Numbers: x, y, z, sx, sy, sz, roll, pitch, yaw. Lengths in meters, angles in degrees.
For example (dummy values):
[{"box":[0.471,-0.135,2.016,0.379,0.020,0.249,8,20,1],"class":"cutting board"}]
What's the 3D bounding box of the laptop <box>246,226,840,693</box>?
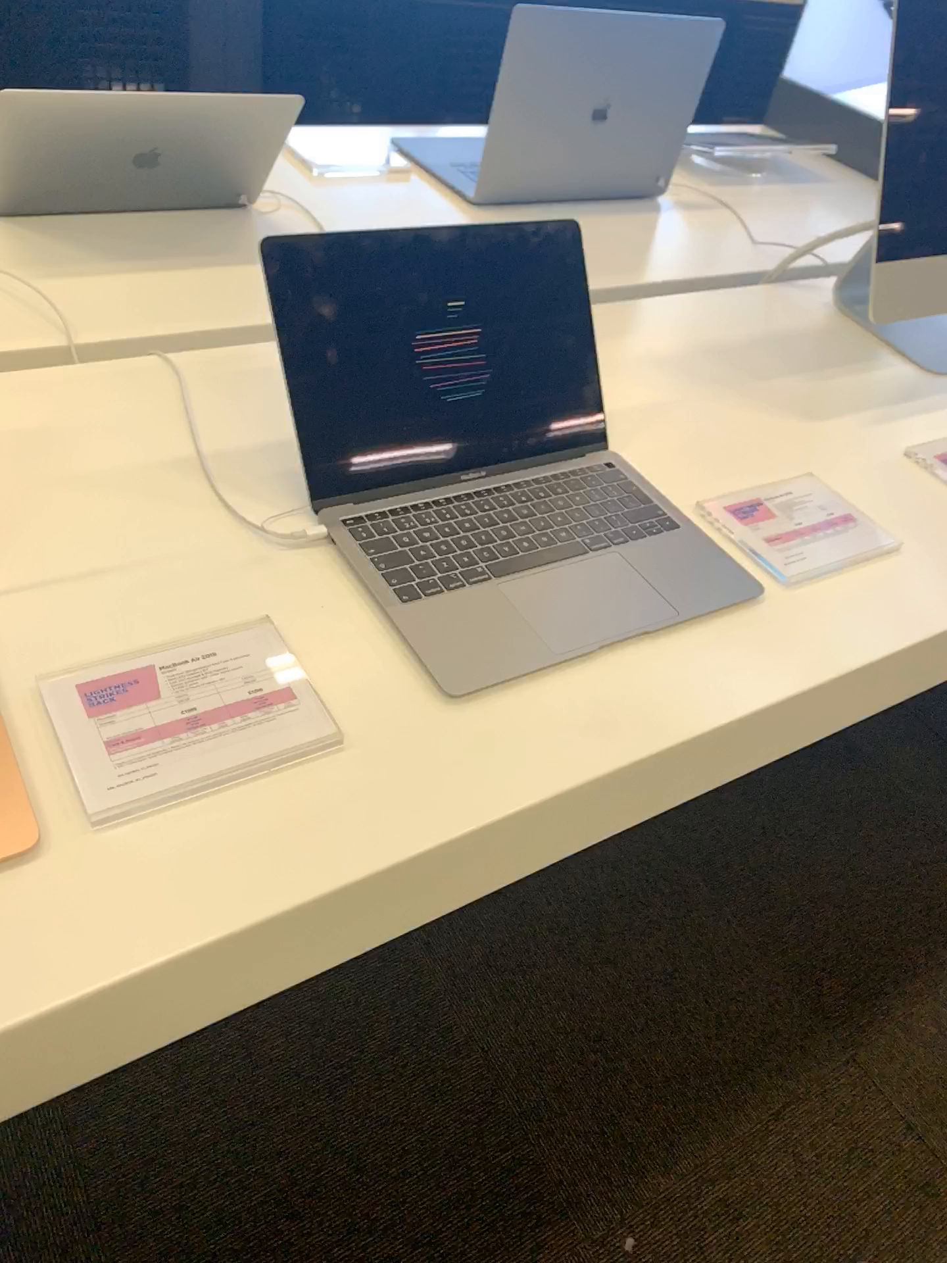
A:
[{"box":[0.031,-0.159,0.745,0.290,0.160,0.330,-17,49,-30],"class":"laptop"}]
